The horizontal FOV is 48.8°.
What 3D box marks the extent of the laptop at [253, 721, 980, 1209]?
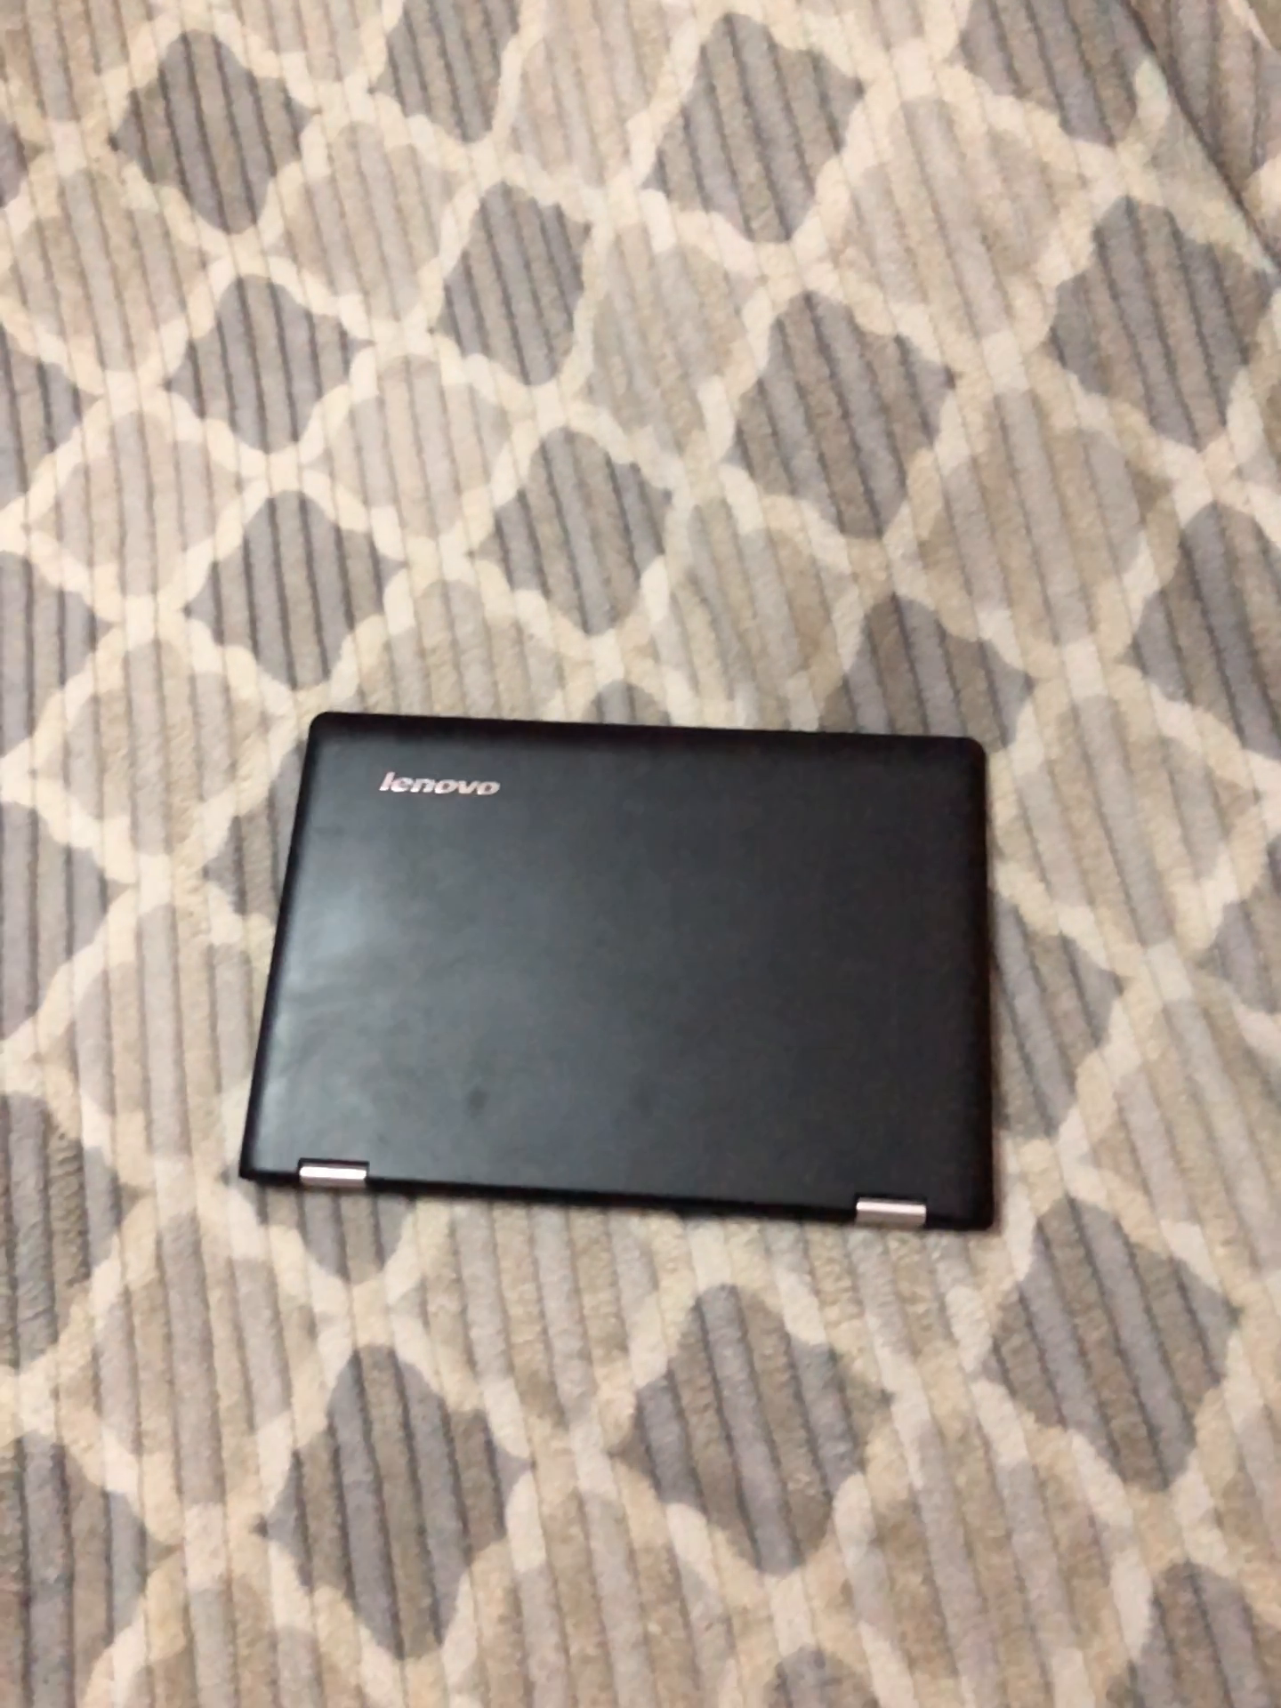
[{"bbox_3d":[-0.005,0.047,0.695,0.339,0.005,0.231,3,71,3],"label":"laptop"}]
